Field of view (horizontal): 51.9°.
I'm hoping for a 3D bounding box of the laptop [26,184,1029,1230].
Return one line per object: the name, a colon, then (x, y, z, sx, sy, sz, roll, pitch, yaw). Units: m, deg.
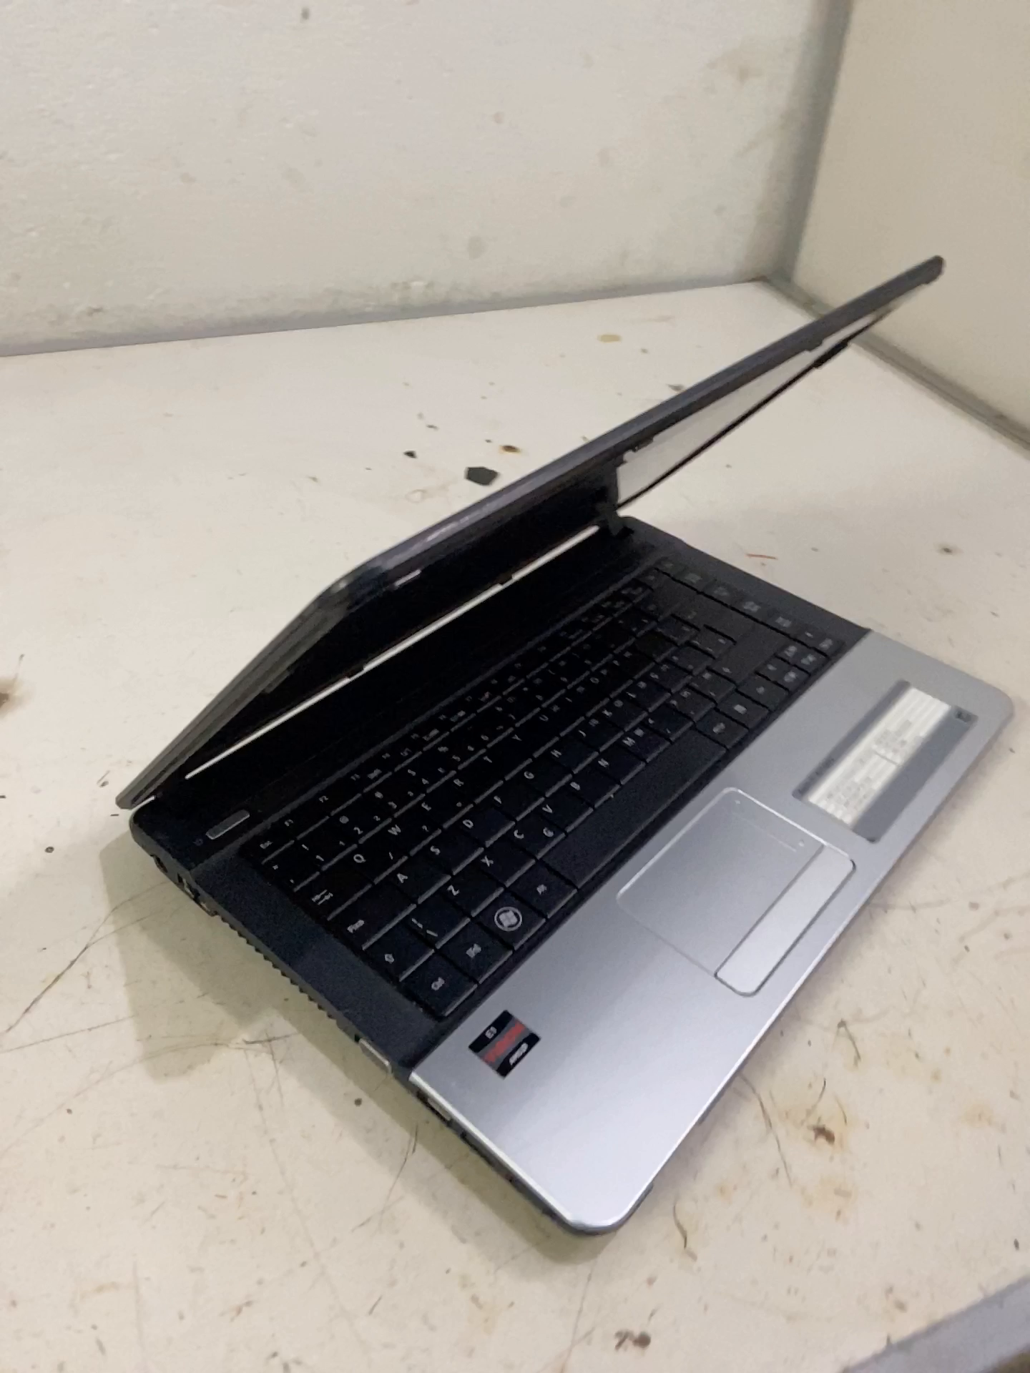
laptop: (0.050, -0.041, 0.412, 0.238, 0.184, 0.335, 31, 46, 28)
